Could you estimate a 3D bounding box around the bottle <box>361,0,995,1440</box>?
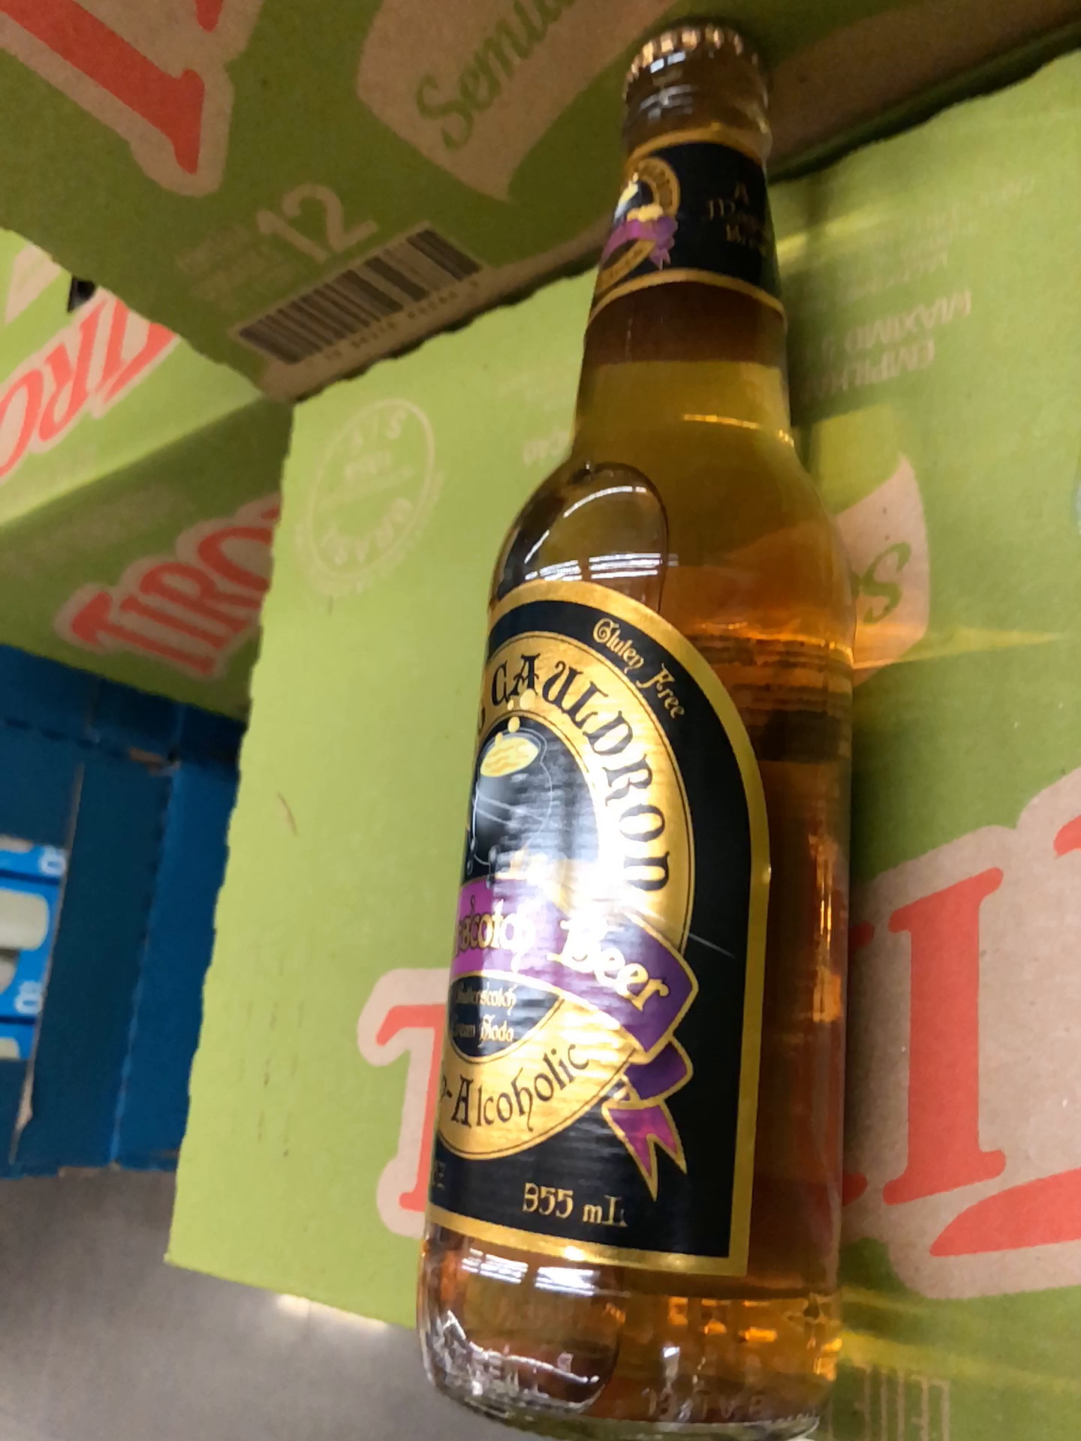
[{"bbox_3d":[0.027,-0.026,0.201,0.070,0.050,0.260,-8,70,39],"label":"bottle"}]
